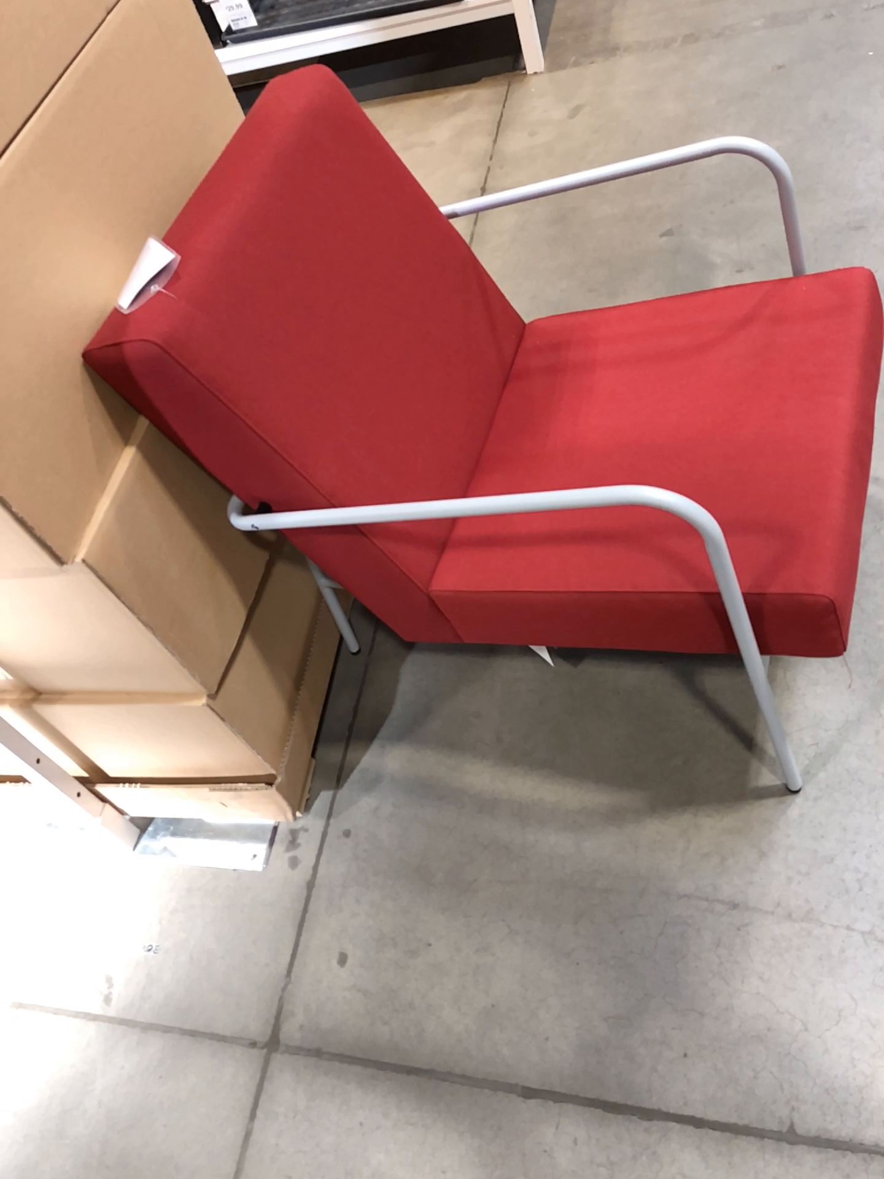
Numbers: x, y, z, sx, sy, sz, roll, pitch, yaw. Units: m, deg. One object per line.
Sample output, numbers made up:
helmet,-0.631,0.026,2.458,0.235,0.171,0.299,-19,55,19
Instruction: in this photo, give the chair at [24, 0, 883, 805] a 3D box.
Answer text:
chair,0.122,-0.223,1.242,0.761,0.708,0.631,5,57,23
